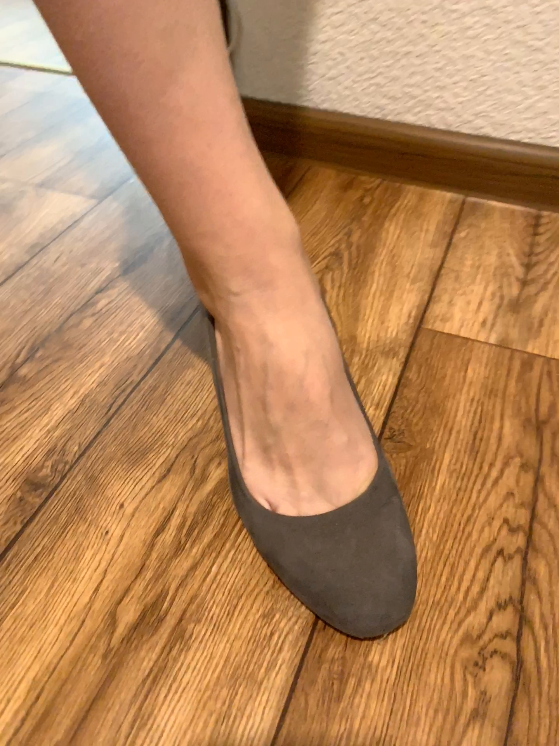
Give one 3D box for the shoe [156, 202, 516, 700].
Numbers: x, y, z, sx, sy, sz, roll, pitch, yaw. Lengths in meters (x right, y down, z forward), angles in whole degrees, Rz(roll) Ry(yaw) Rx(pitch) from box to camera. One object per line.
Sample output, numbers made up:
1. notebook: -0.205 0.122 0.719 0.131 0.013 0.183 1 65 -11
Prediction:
1. shoe: 0.007 0.021 0.289 0.083 0.109 0.211 -15 46 -11
